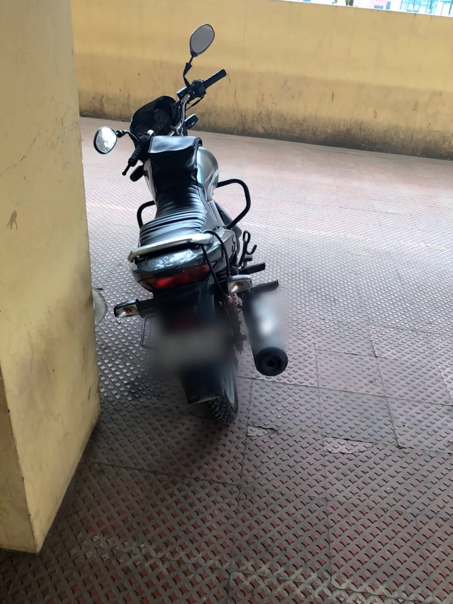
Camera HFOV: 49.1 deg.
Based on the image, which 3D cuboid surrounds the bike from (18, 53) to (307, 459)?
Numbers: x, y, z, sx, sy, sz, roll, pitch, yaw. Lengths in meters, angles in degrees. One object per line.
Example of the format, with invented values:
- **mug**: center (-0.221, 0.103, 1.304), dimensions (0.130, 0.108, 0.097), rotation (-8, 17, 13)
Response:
- **bike**: center (-0.322, -0.313, 2.158), dimensions (0.720, 1.166, 1.476), rotation (-1, 33, -10)
